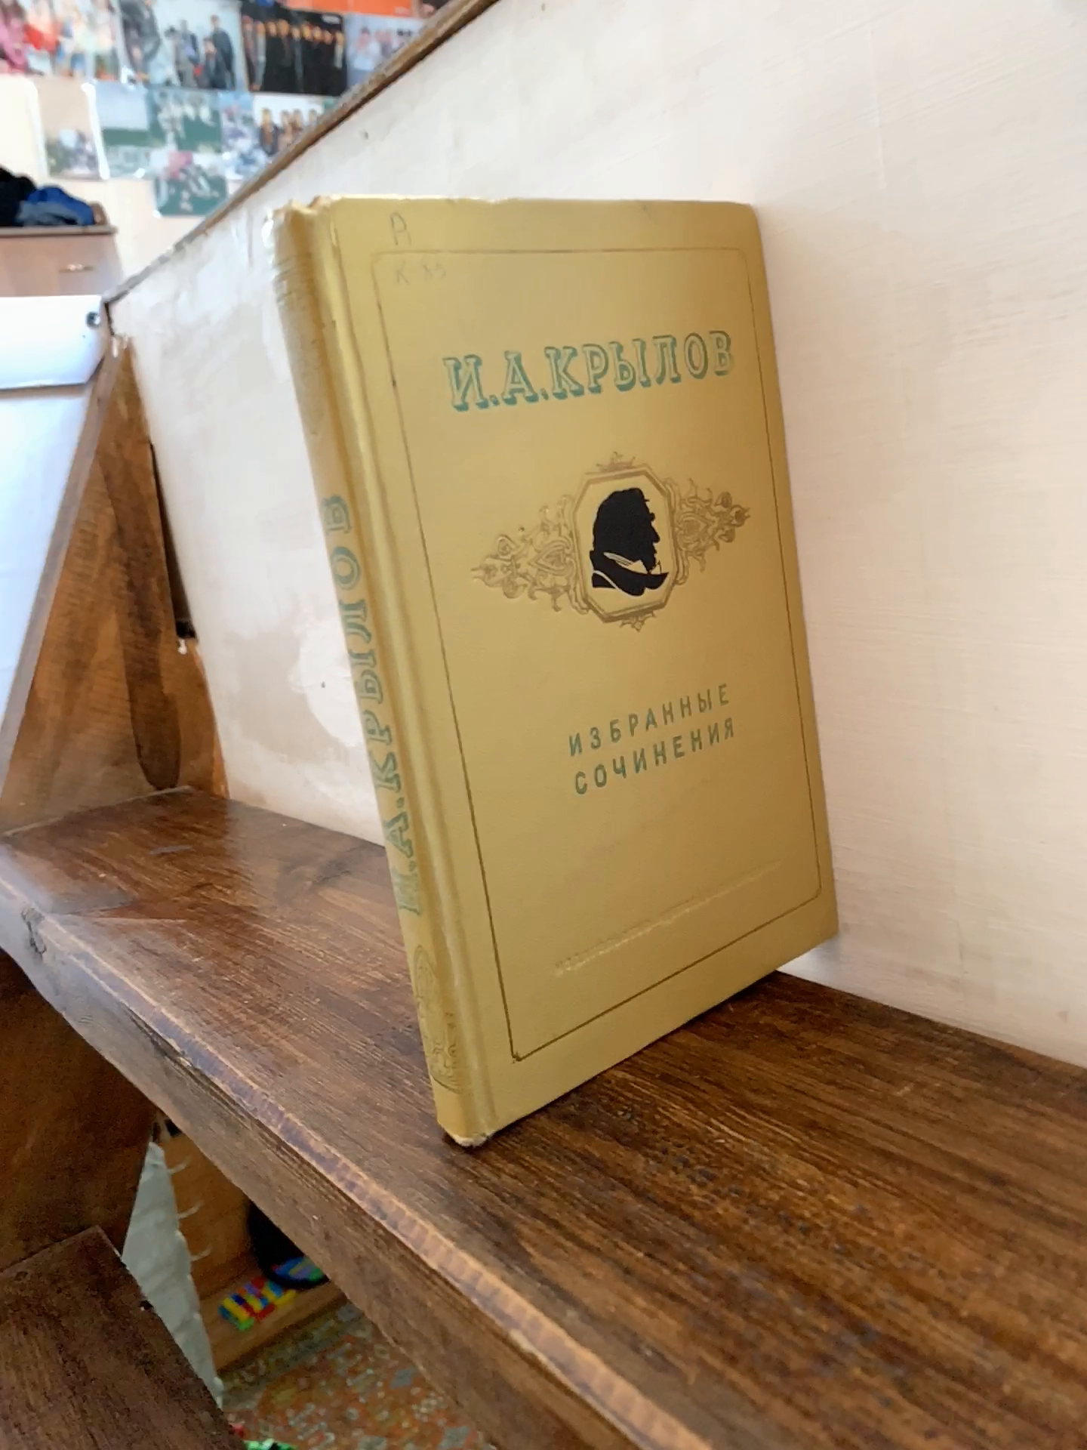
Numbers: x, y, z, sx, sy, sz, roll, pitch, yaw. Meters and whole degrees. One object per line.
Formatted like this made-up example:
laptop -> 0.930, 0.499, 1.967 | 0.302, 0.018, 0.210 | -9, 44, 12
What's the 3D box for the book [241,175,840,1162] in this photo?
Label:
book -> 0.012, -0.020, 0.276 | 0.132, 0.206, 0.020 | -17, 13, -36
